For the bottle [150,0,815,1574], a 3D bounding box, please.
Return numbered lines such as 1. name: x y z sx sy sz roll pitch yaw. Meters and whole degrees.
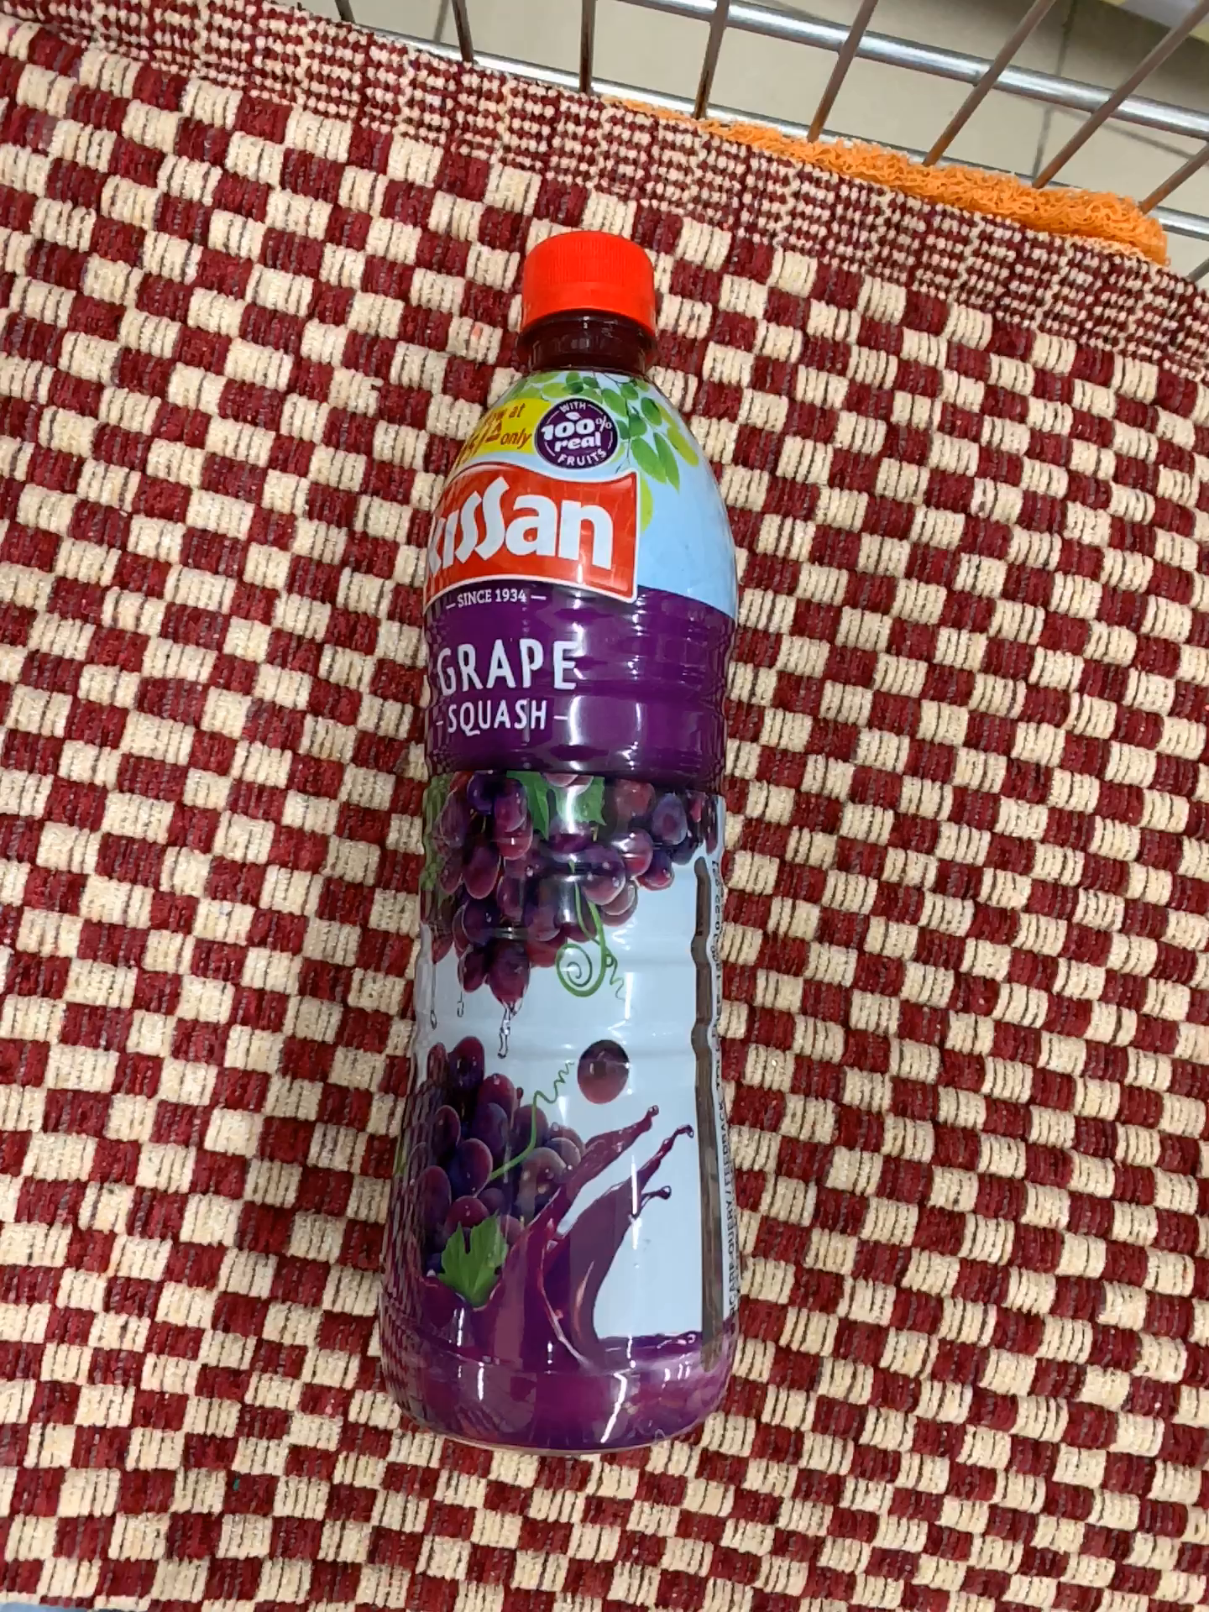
1. bottle: -0.019 -0.006 0.242 0.080 0.080 0.240 9 84 -55
